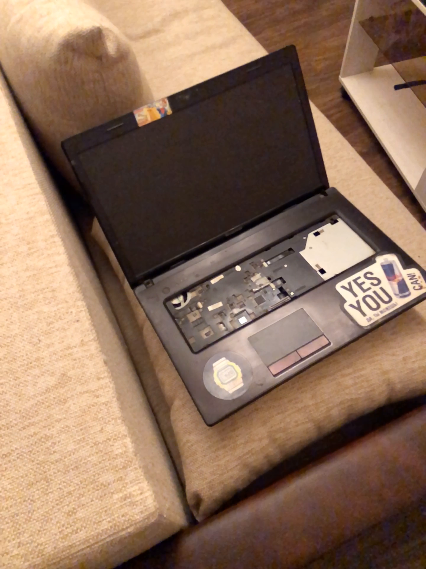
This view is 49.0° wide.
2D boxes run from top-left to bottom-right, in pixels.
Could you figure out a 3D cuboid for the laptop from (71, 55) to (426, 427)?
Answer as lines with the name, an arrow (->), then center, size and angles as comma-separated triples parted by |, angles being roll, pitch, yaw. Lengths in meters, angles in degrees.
laptop -> 0.070, -0.092, 0.712 | 0.412, 0.198, 0.409 | -27, 58, -12
